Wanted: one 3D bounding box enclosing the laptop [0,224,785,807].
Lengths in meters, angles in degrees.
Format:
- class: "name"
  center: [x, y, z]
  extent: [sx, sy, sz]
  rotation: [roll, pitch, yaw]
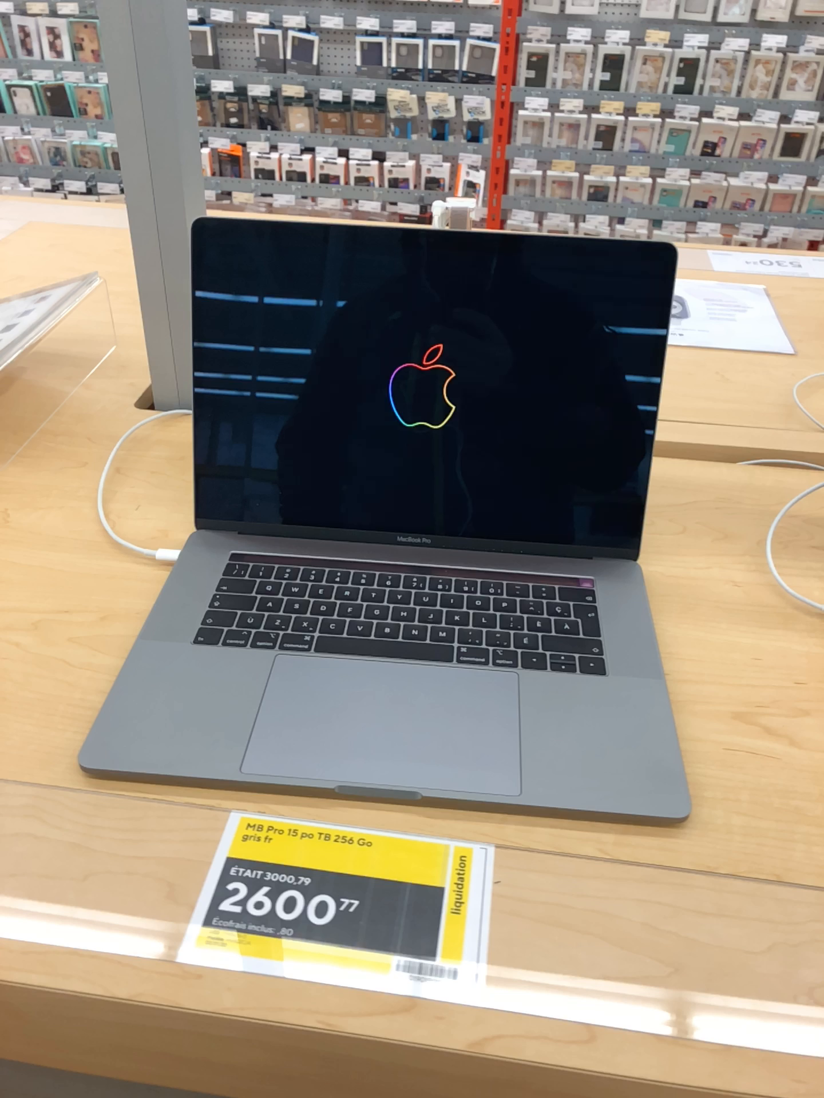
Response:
- class: "laptop"
  center: [-0.001, -0.041, 0.558]
  extent: [0.329, 0.212, 0.299]
  rotation: [4, 36, 2]
